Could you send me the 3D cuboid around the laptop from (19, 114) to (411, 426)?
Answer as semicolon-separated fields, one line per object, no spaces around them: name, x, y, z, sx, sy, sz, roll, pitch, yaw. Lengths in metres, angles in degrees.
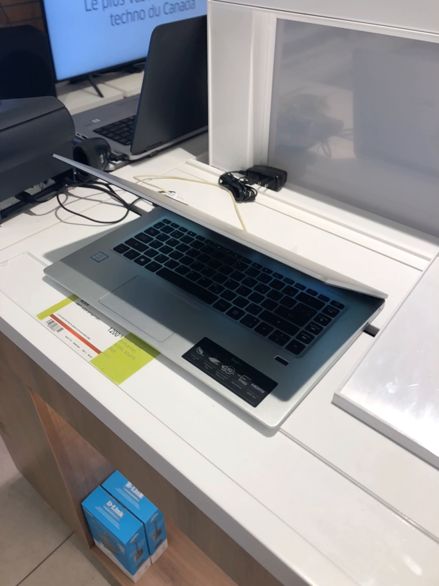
laptop;-0.014;-0.060;0.542;0.348;0.132;0.217;29;48;30
